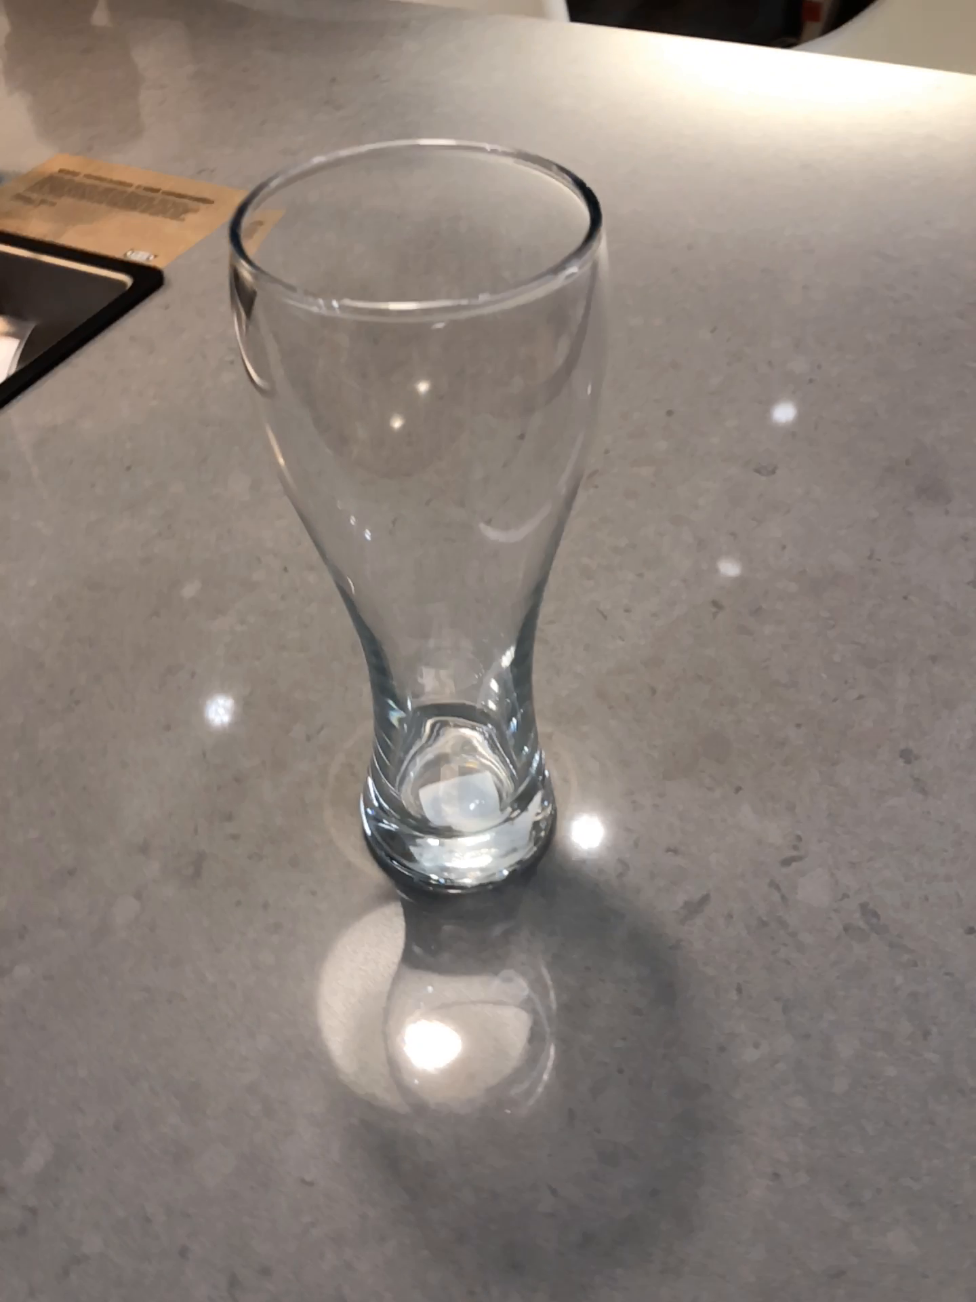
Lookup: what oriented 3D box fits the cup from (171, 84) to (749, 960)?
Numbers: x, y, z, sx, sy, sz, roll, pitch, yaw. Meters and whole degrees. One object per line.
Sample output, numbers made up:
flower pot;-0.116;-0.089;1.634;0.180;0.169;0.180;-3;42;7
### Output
cup;-0.010;-0.023;0.313;0.100;0.219;0.100;-1;46;1
